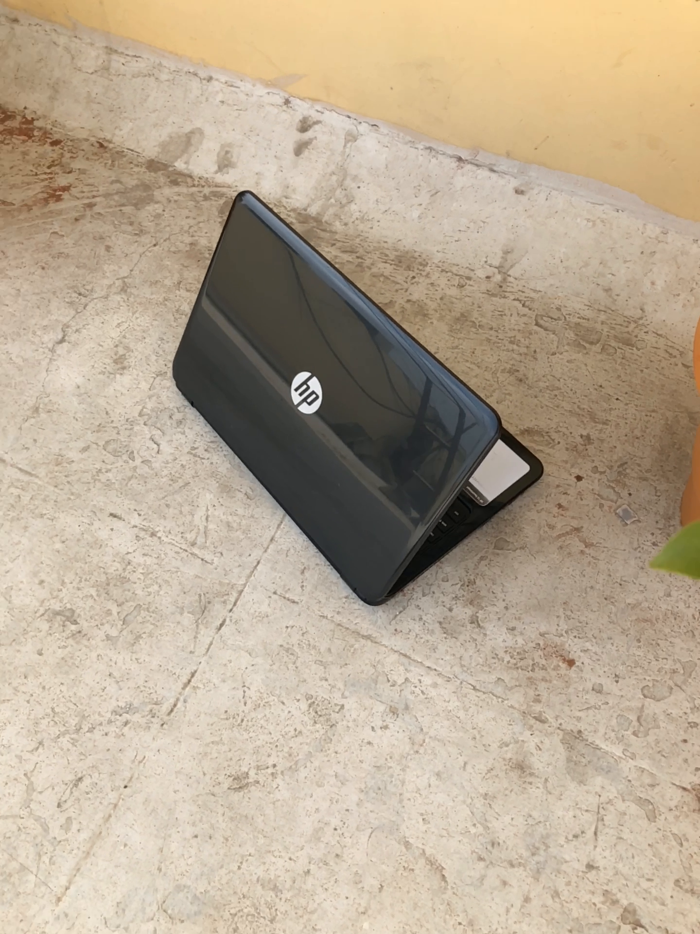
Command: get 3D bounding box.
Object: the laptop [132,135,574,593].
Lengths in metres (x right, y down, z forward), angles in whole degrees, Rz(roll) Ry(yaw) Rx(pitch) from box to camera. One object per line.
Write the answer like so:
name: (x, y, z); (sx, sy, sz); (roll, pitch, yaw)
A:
laptop: (-0.010, -0.106, 0.766); (0.221, 0.190, 0.345); (-36, 66, -16)
